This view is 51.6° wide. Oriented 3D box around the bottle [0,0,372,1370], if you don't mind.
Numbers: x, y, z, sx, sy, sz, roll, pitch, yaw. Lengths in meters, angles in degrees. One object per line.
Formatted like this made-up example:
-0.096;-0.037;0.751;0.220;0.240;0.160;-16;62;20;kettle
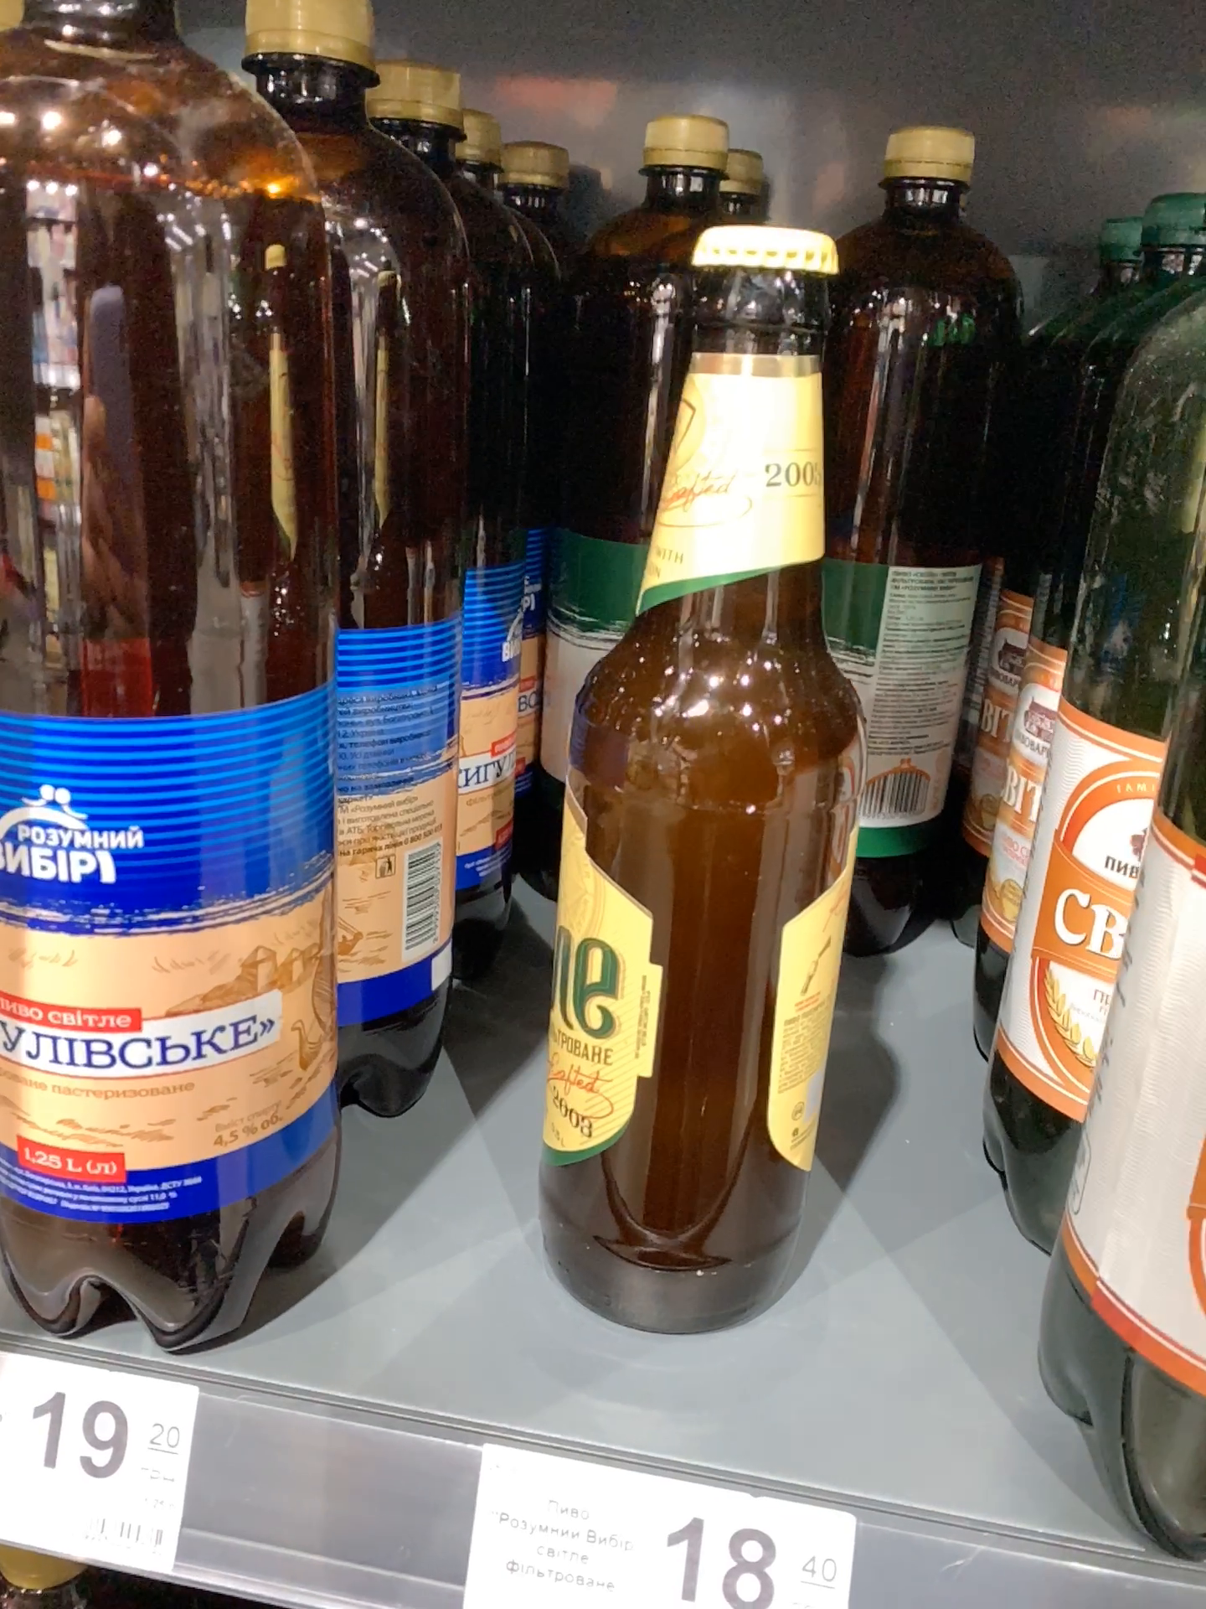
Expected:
-0.098;-0.024;0.259;0.084;0.283;0.070;4;20;1;bottle

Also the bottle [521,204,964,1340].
0.020;0.001;0.293;0.070;0.248;0.069;3;20;-1;bottle

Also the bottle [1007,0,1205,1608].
0.144;0.010;0.227;0.084;0.277;0.070;7;20;9;bottle
